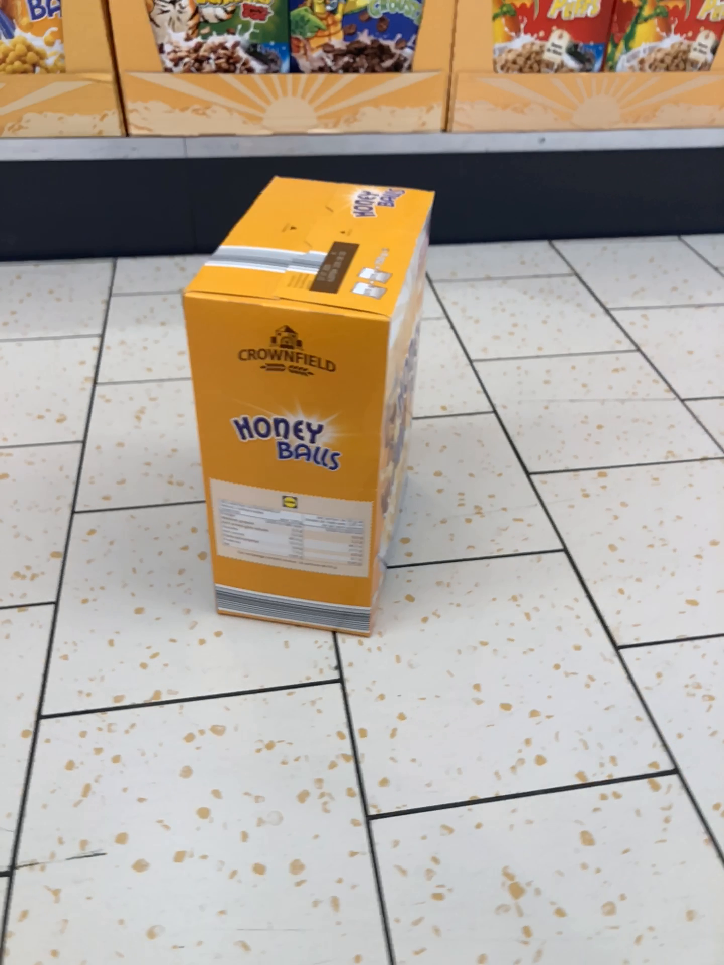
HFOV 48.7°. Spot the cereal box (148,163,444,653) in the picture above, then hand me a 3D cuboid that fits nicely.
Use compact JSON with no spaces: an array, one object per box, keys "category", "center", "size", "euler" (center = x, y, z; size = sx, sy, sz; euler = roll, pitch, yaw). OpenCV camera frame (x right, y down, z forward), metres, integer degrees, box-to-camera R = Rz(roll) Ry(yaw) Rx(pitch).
[{"category":"cereal box","center":[-0.031,-0.055,0.567],"size":[0.130,0.258,0.211],"euler":[8,39,7]}]
